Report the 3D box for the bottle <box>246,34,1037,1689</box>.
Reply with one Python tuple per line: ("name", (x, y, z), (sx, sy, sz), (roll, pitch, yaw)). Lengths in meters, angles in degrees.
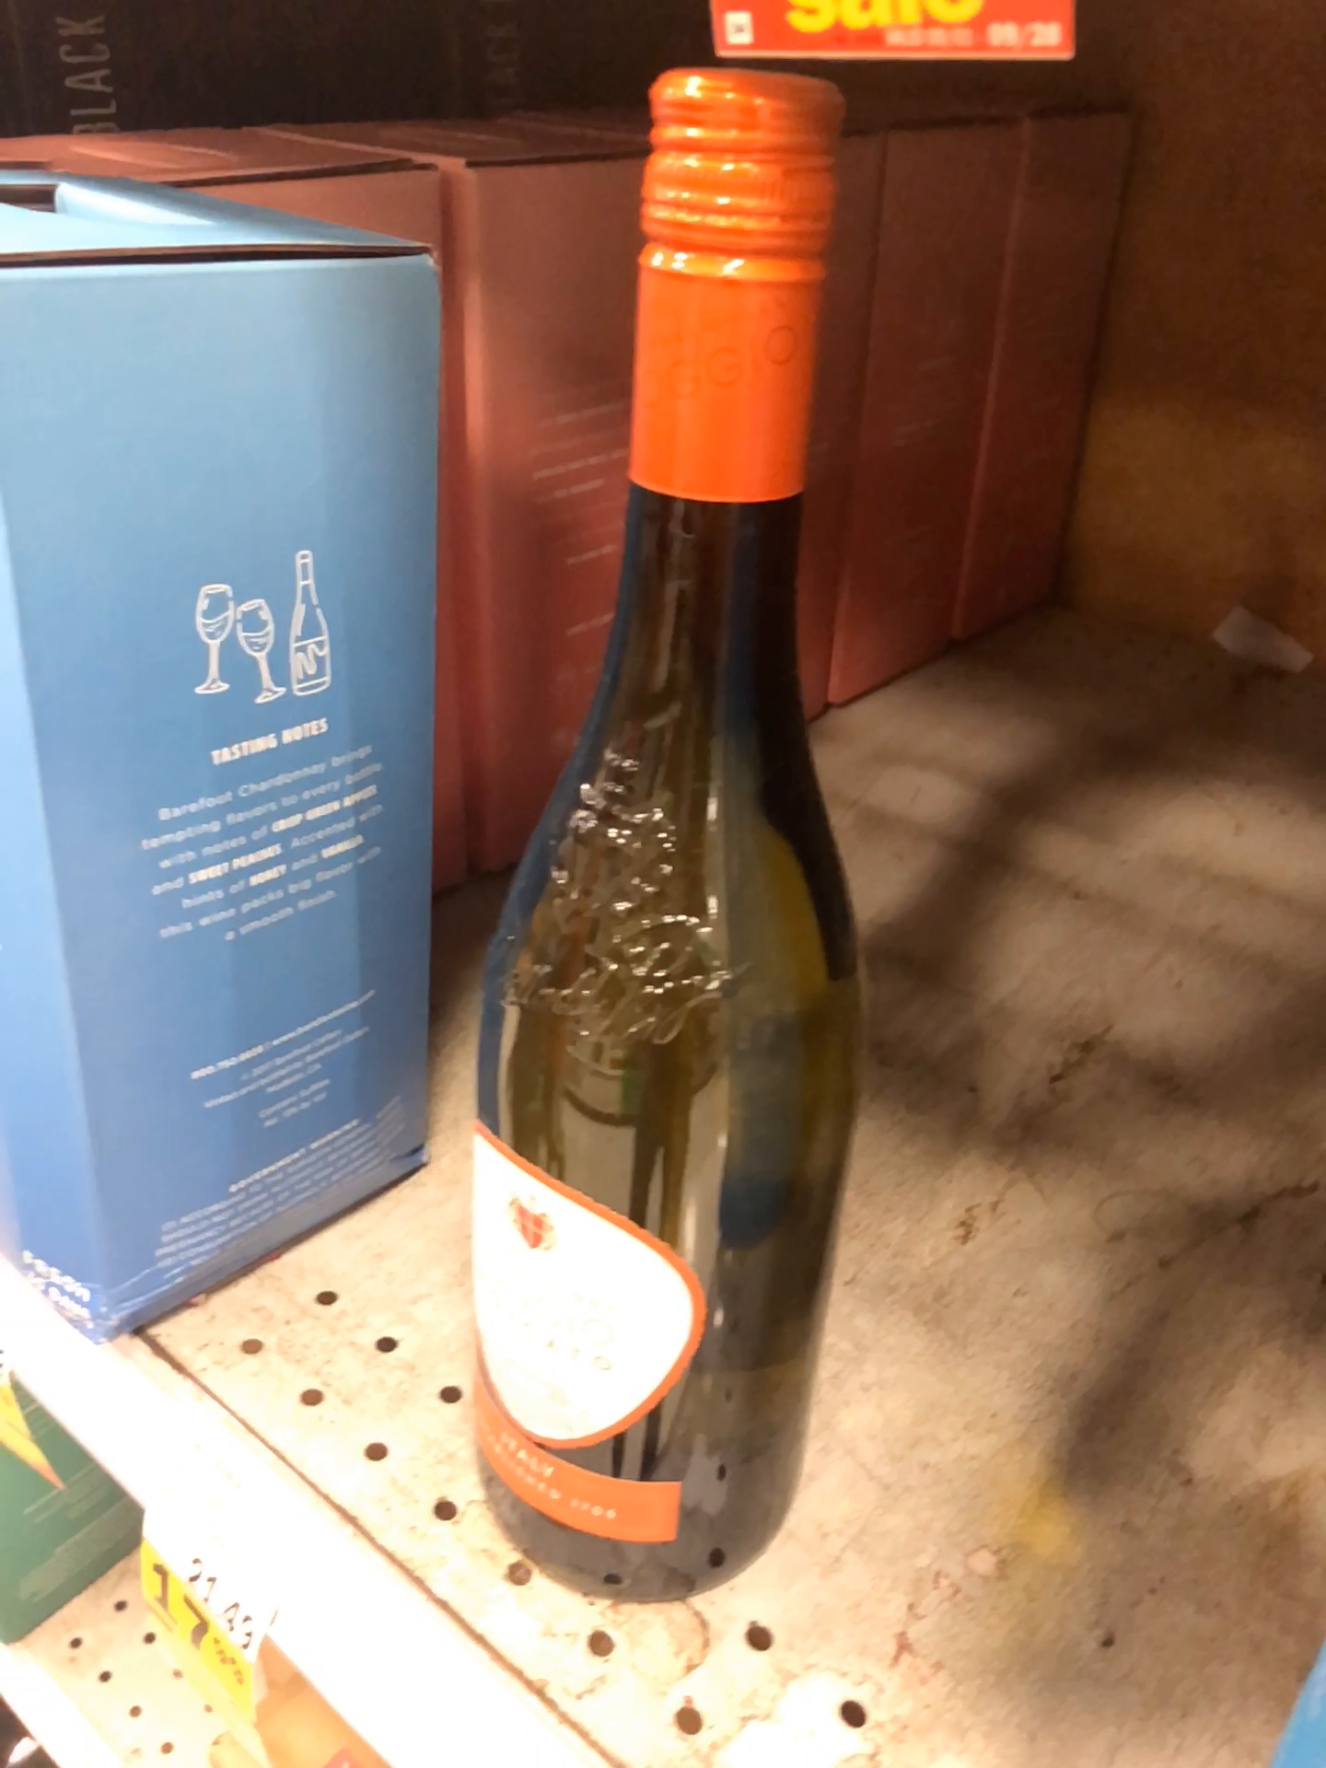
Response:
("bottle", (-0.004, 0.015, 0.276), (0.080, 0.299, 0.070), (23, 38, 31))
